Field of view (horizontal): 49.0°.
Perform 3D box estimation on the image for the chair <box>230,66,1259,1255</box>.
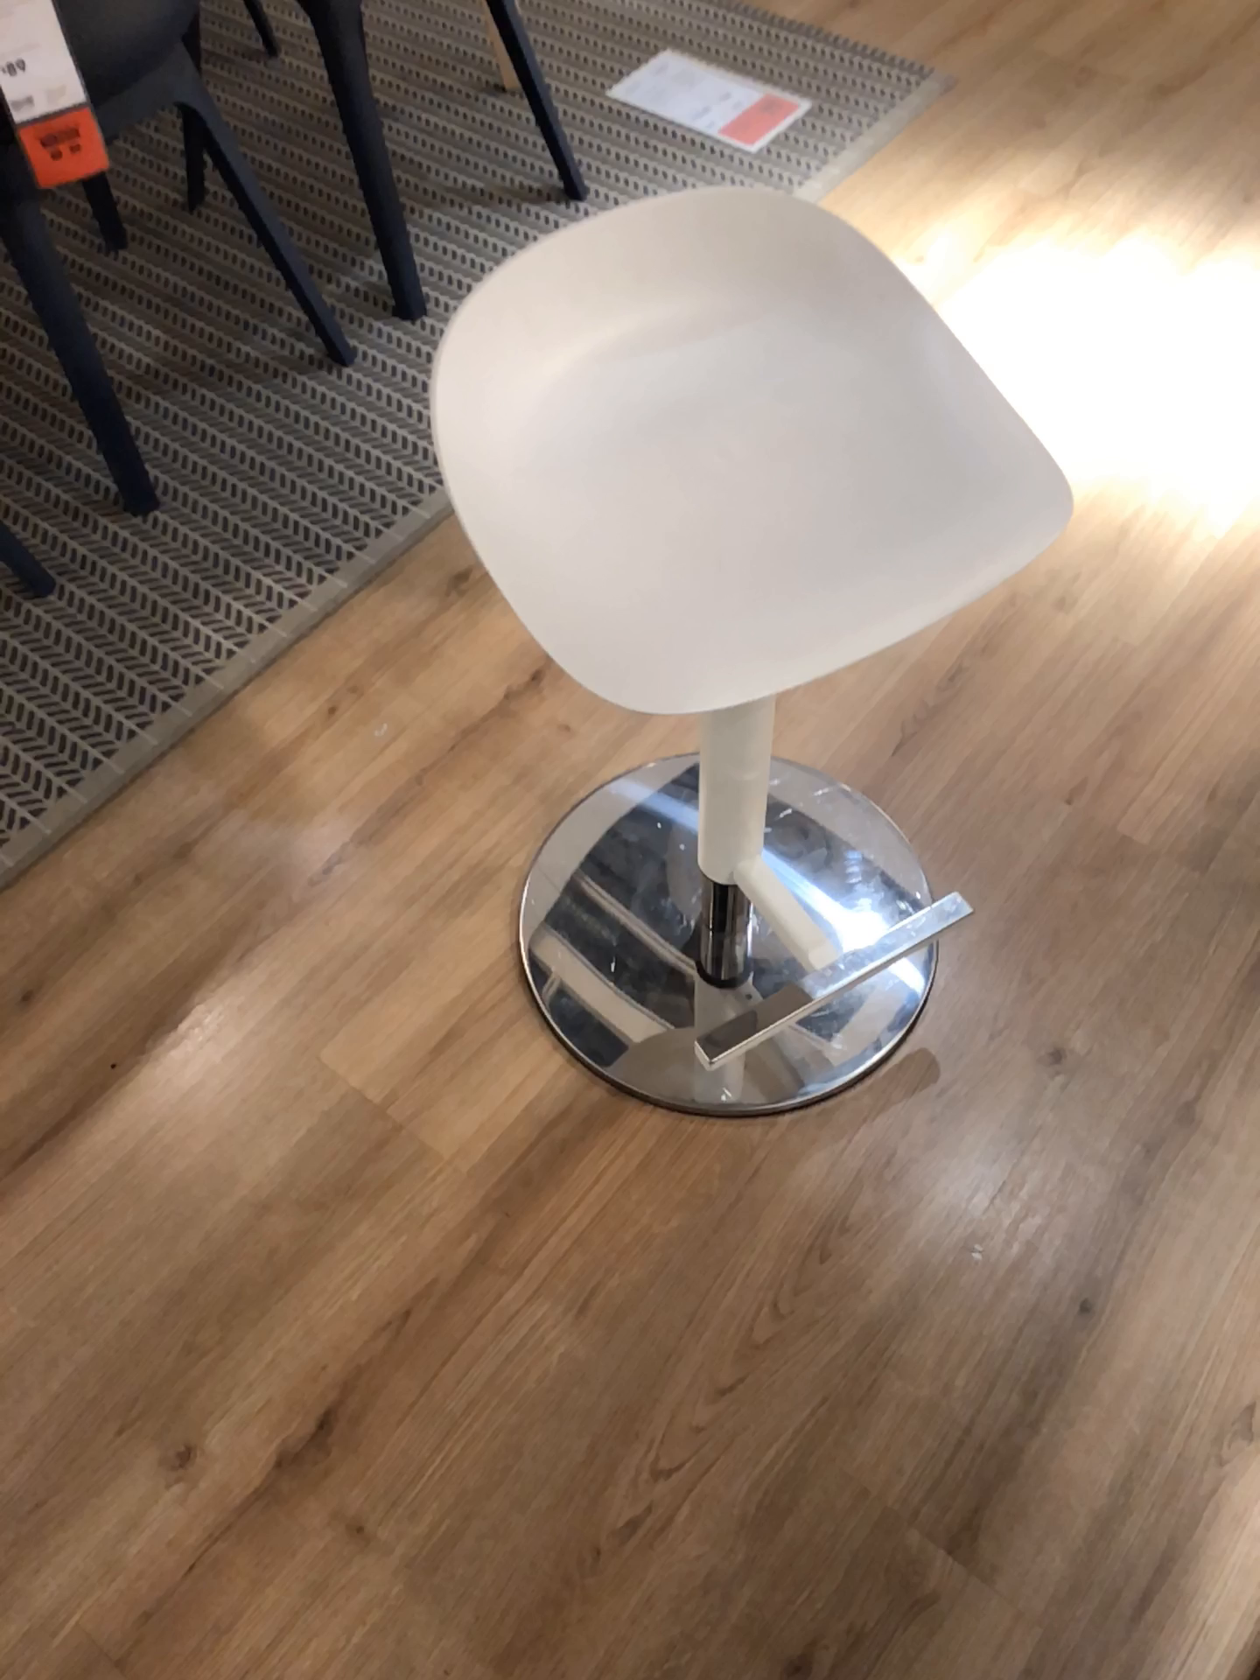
[{"bbox_3d":[0.073,-0.094,1.091,0.440,0.698,0.451,-30,59,-18],"label":"chair"}]
